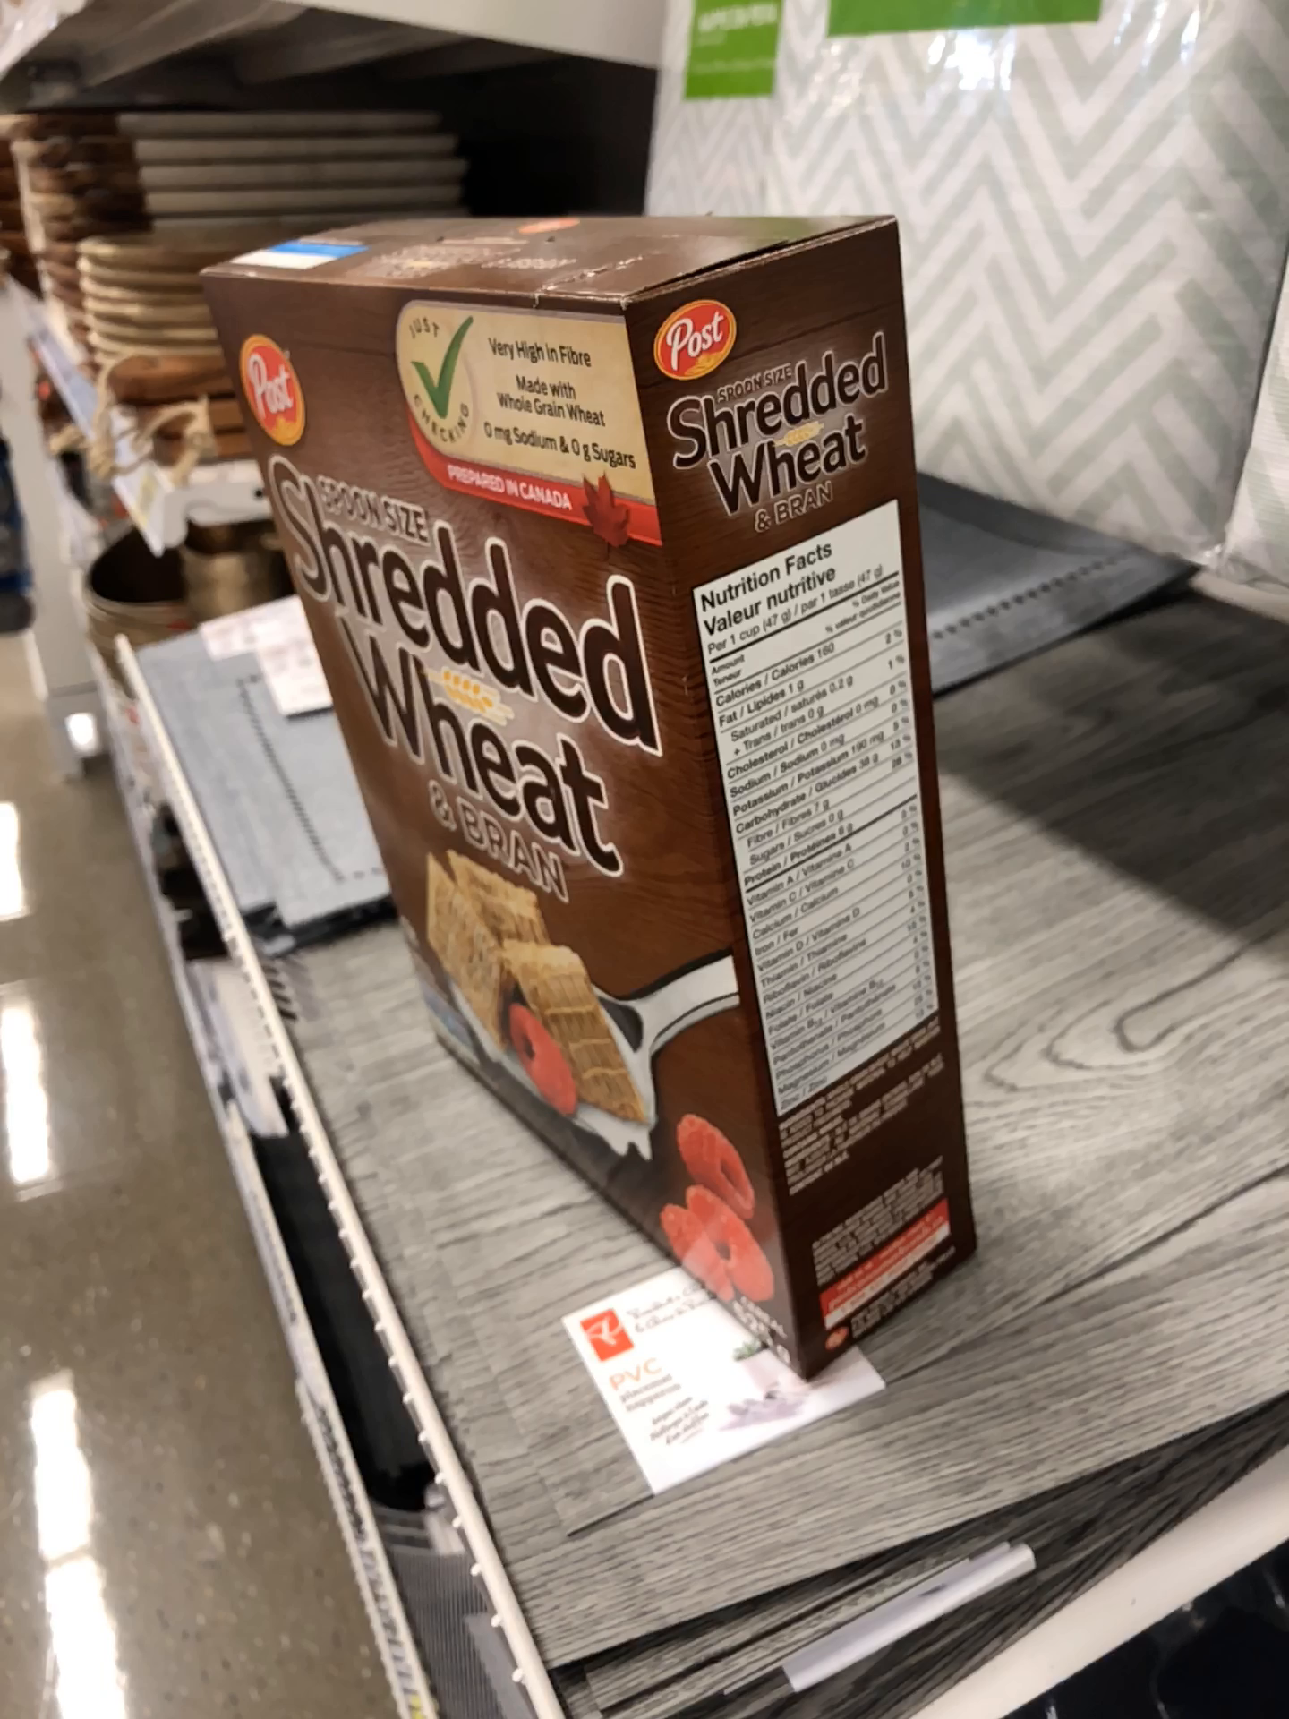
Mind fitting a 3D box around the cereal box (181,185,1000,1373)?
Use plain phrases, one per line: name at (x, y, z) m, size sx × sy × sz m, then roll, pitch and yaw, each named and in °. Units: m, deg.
cereal box at (-0.013, -0.030, 0.384) m, size 0.070 × 0.259 × 0.201 m, roll -28°, pitch 34°, yaw -25°
